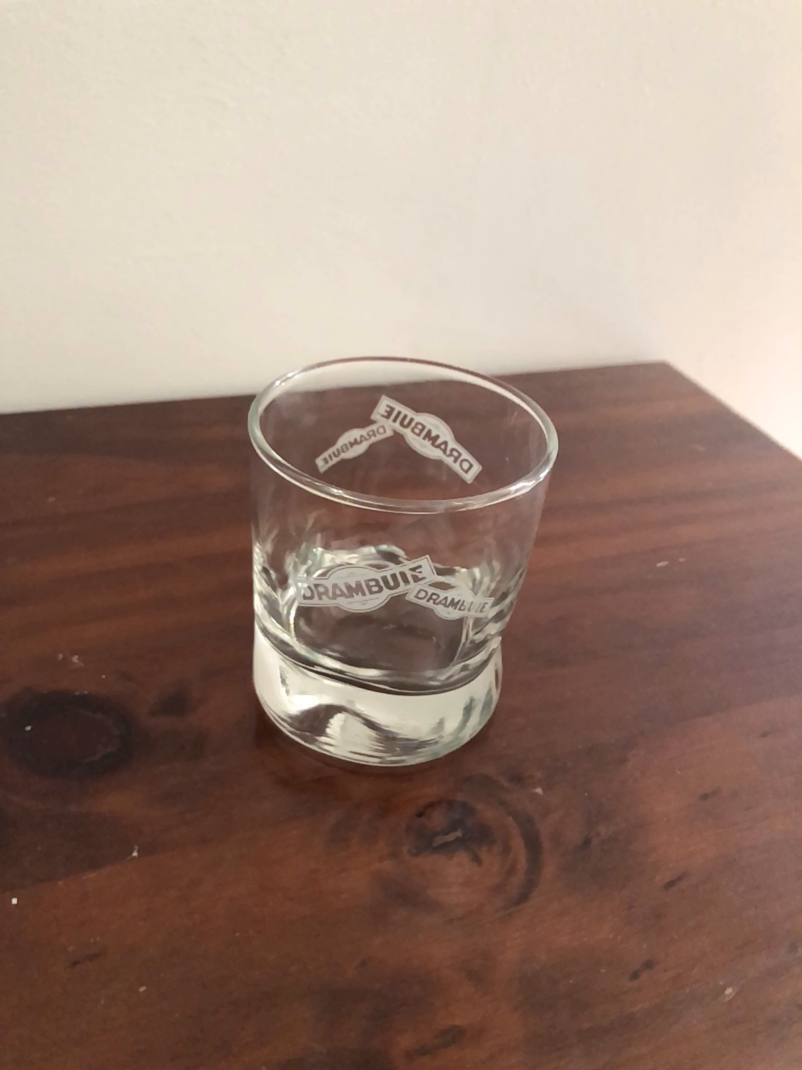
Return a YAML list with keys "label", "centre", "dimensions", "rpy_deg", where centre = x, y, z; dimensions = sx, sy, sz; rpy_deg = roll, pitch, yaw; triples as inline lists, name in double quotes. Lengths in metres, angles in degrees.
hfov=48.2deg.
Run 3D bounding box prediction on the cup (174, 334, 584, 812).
- label: "cup"
  centre: [-0.003, 0.006, 0.240]
  dimensions: [0.082, 0.080, 0.081]
  rpy_deg: [5, 34, -3]
